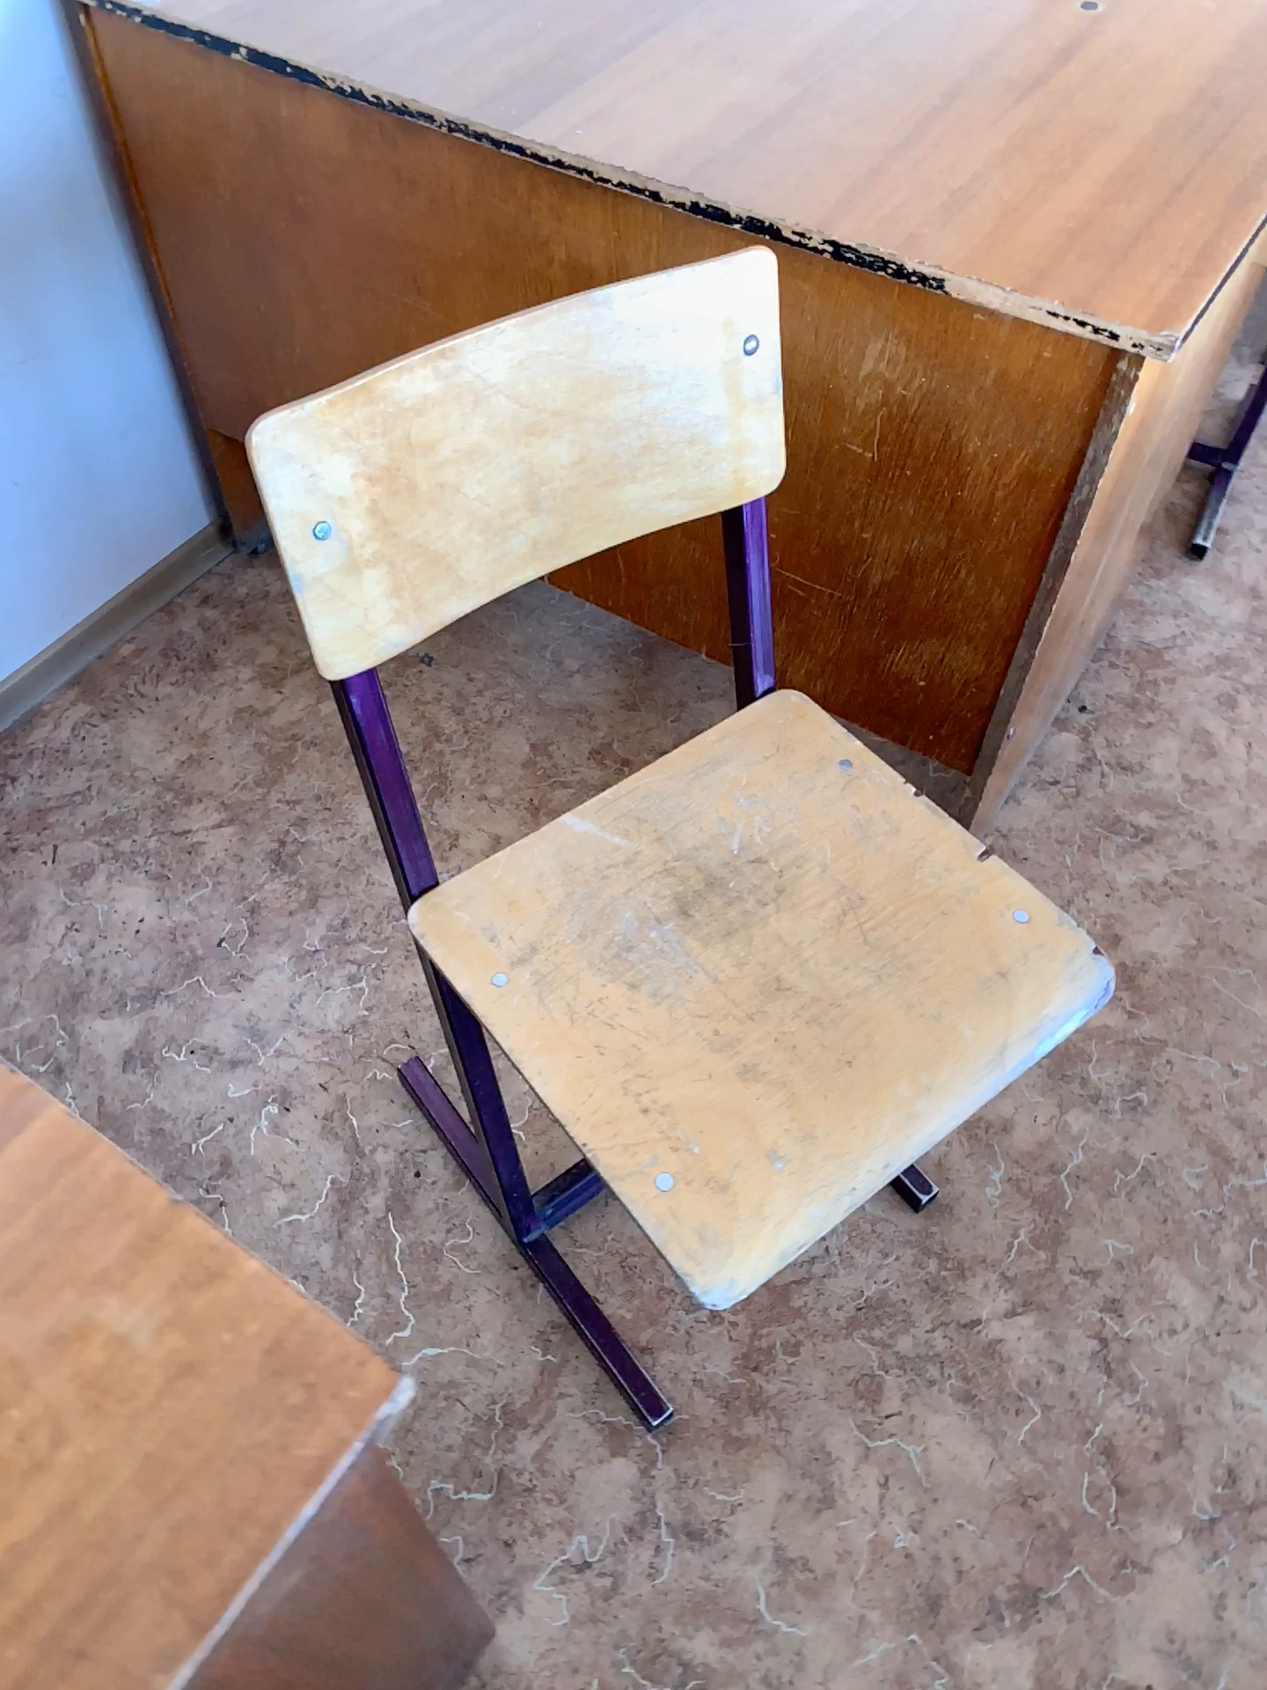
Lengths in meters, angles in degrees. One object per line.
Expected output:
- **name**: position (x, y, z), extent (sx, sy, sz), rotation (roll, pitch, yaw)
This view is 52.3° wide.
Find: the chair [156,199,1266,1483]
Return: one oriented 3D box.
- **chair**: position (0.035, 0.049, 0.934), extent (0.381, 0.734, 0.472), rotation (-30, 59, -22)
